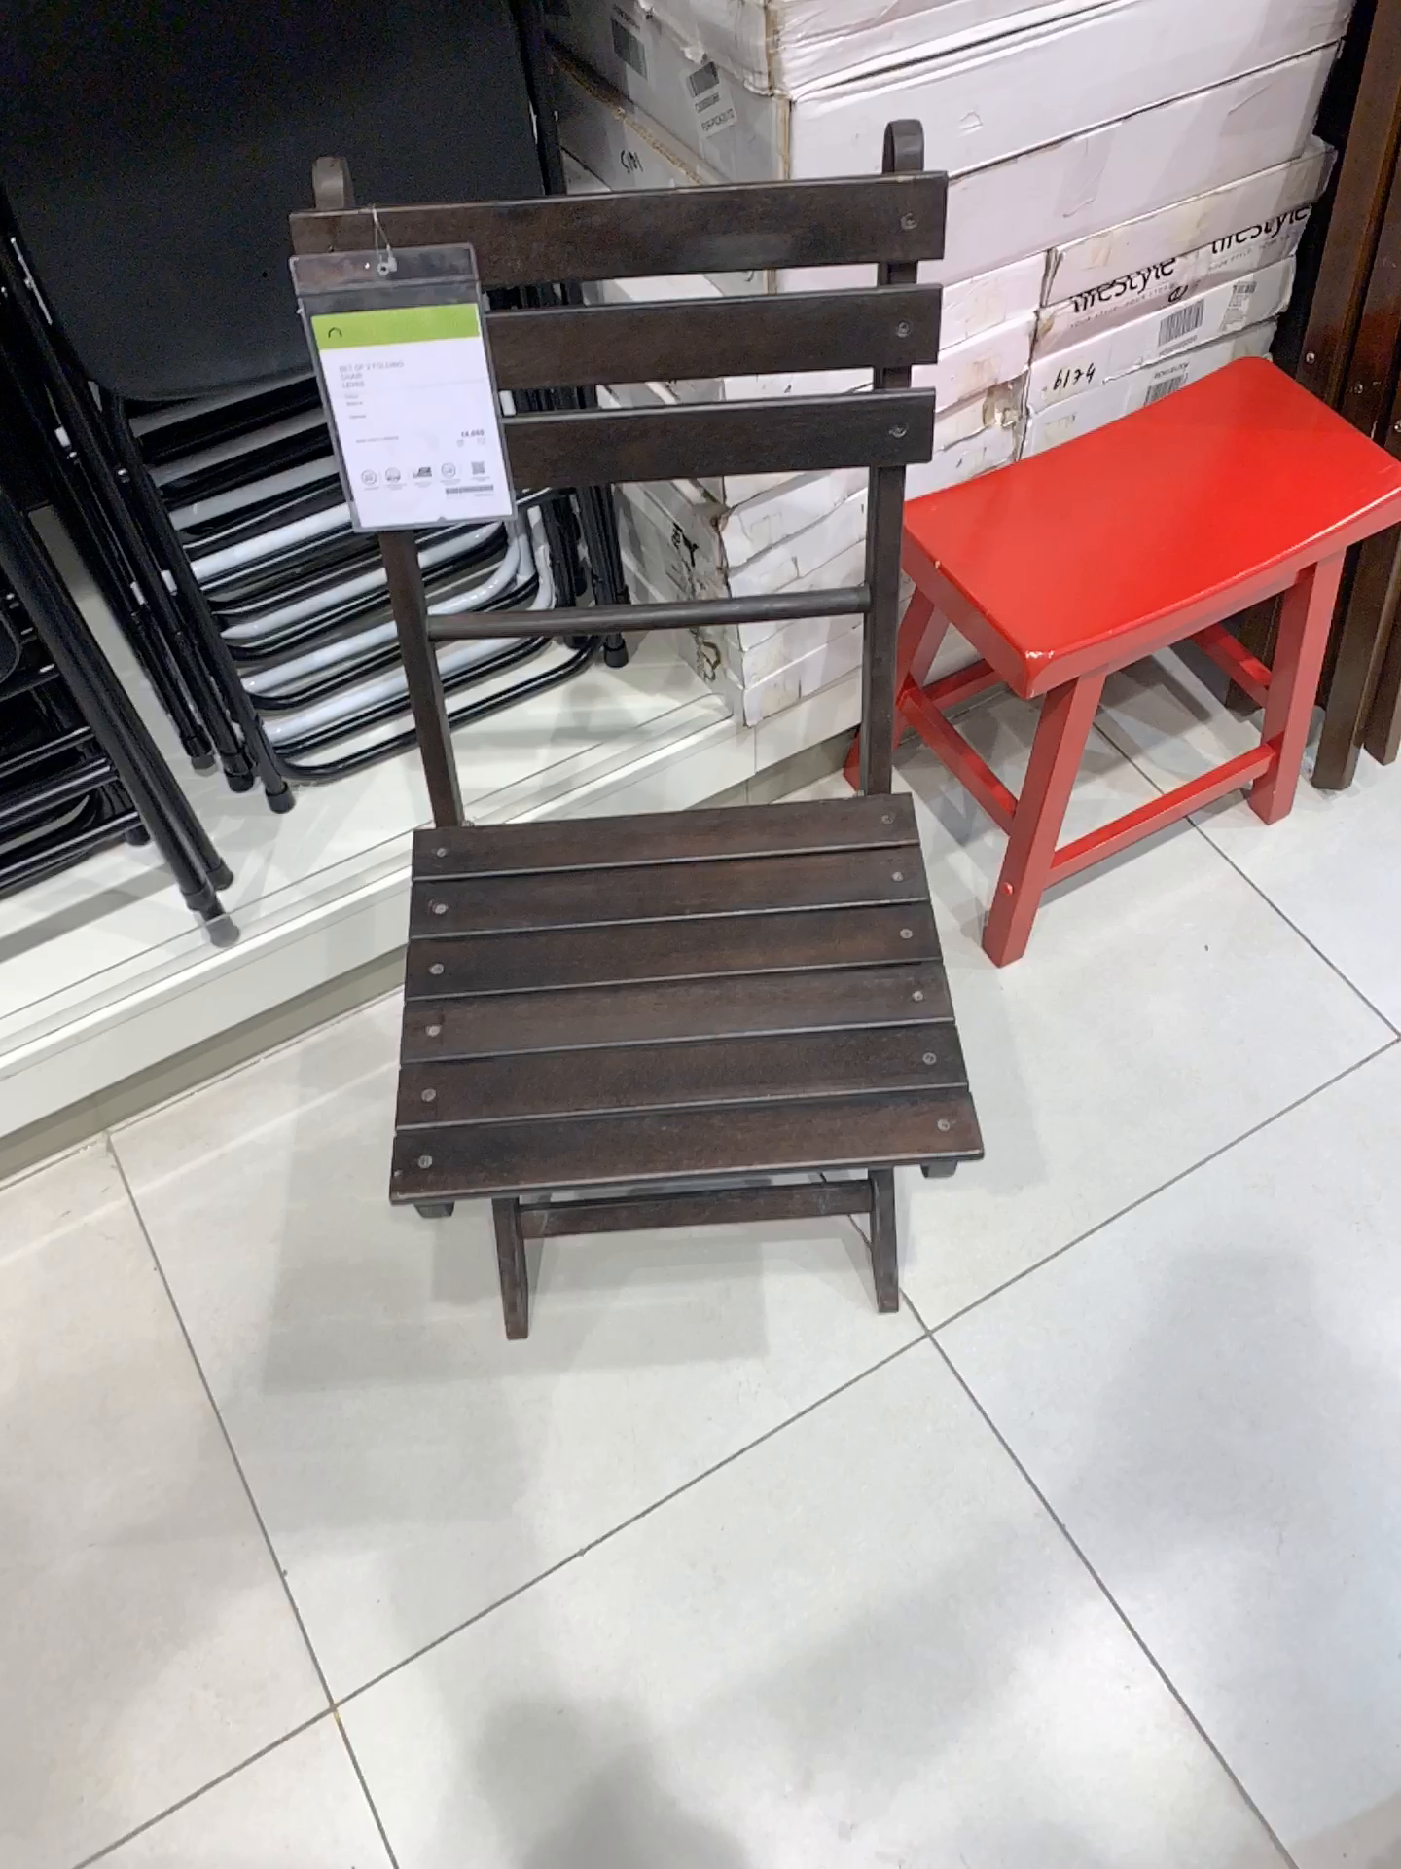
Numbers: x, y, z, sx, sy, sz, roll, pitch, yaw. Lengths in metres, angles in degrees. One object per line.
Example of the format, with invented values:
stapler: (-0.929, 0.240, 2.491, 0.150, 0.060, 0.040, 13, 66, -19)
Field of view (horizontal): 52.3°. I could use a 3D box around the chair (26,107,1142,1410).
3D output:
chair: (-0.046, -0.033, 1.002, 0.420, 0.798, 0.481, -4, 56, -1)
